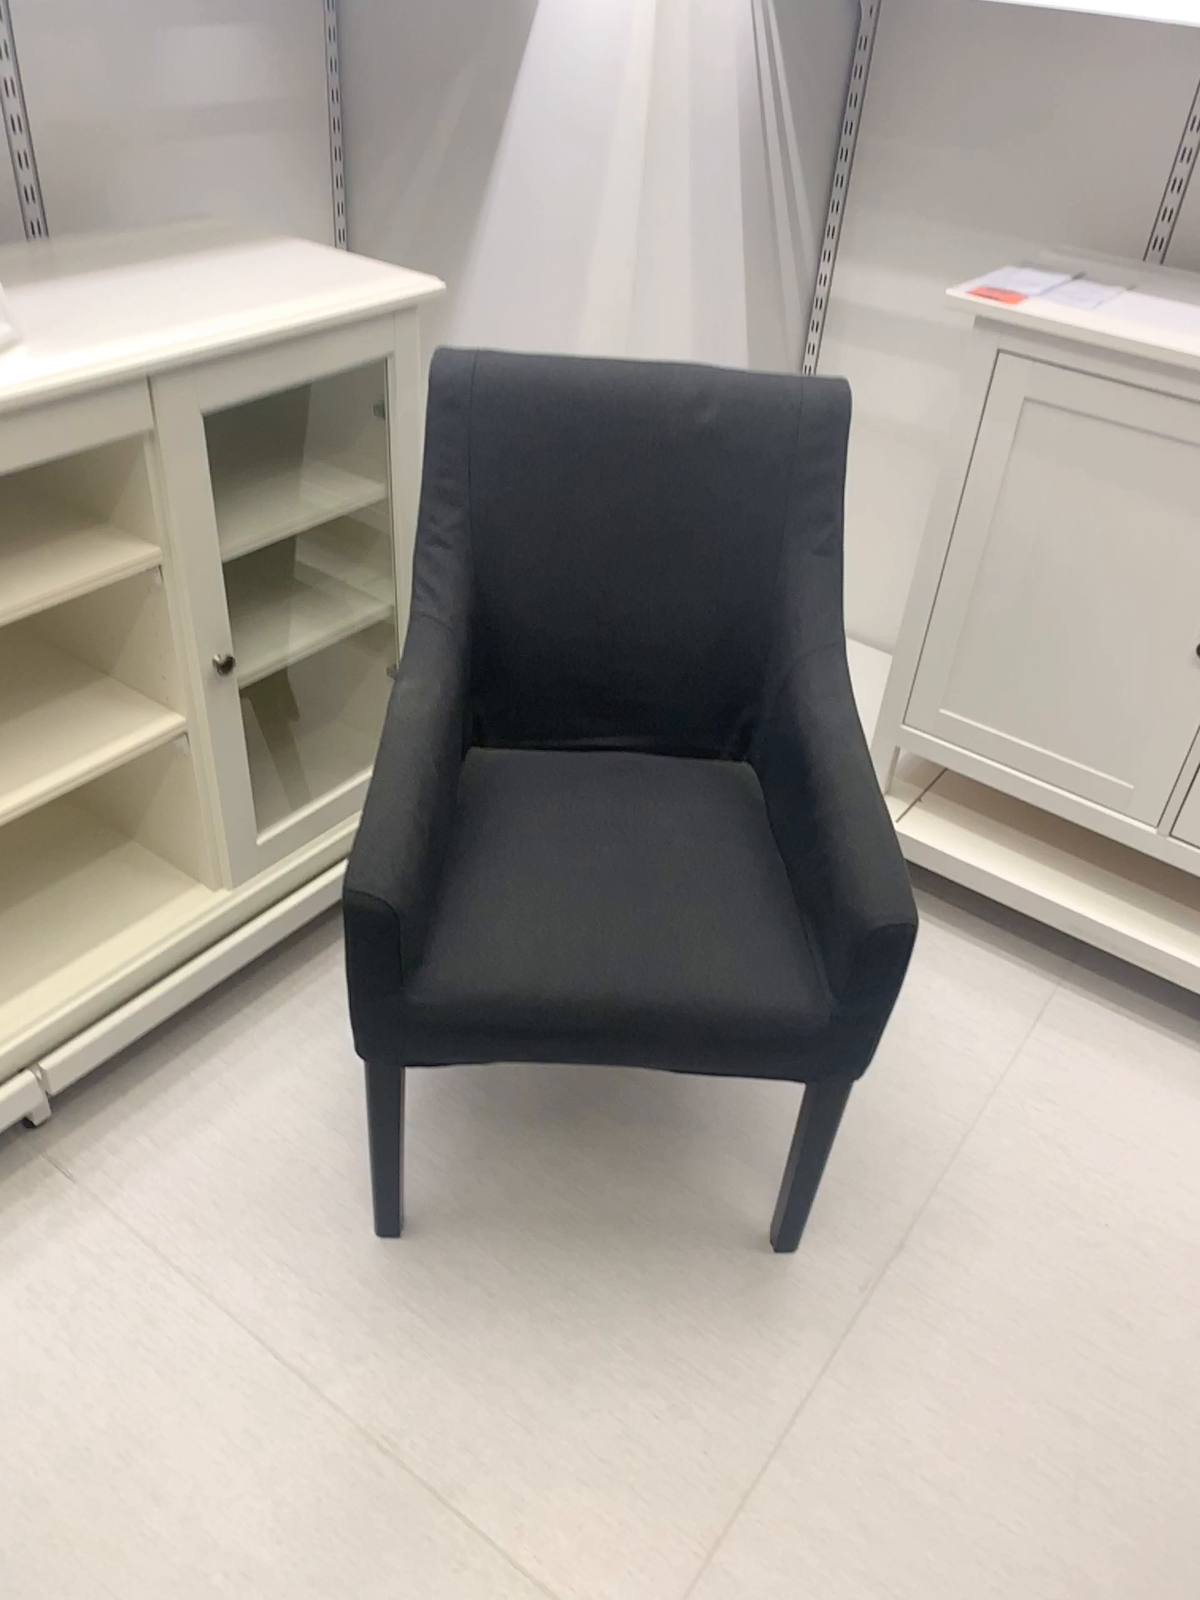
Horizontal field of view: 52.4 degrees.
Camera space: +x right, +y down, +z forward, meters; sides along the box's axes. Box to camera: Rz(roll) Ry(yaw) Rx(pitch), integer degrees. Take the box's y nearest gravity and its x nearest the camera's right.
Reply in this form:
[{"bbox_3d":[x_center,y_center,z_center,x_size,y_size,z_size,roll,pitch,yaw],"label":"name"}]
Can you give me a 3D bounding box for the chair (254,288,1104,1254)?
[{"bbox_3d":[0.032,-0.016,1.470,0.660,0.946,0.612,3,36,-2],"label":"chair"}]
